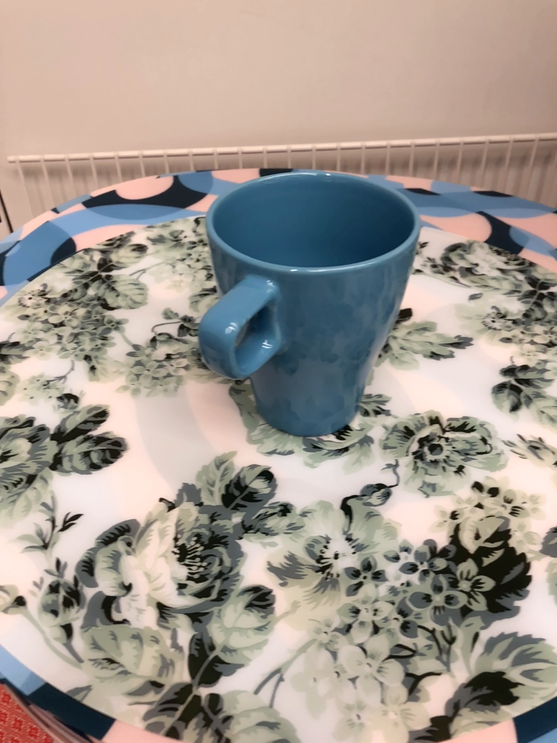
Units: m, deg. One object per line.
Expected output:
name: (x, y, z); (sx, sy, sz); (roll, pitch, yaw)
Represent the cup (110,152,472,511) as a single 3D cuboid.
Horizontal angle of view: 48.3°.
cup: (0.013, -0.027, 0.256); (0.090, 0.080, 0.120); (16, 41, 24)
